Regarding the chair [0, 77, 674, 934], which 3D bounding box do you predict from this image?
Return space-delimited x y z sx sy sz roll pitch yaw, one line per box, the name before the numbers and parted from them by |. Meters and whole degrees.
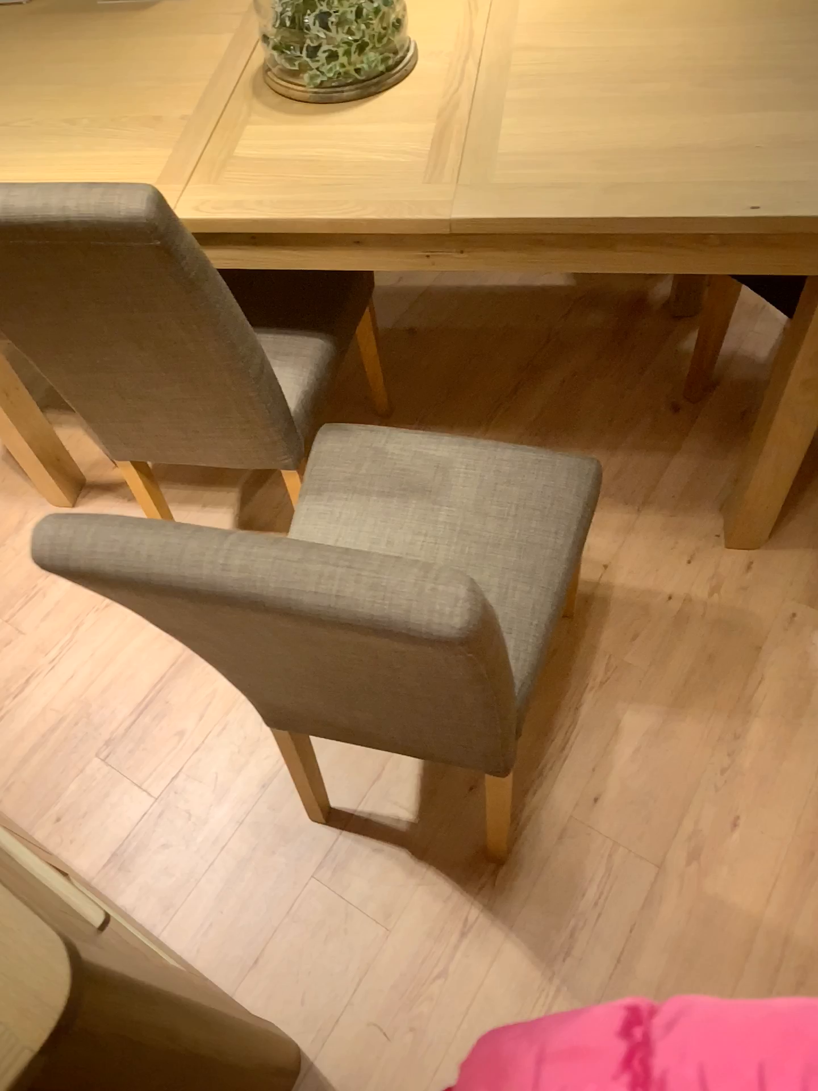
chair | -0.003 0.032 1.092 0.491 0.952 0.614 9 56 13
